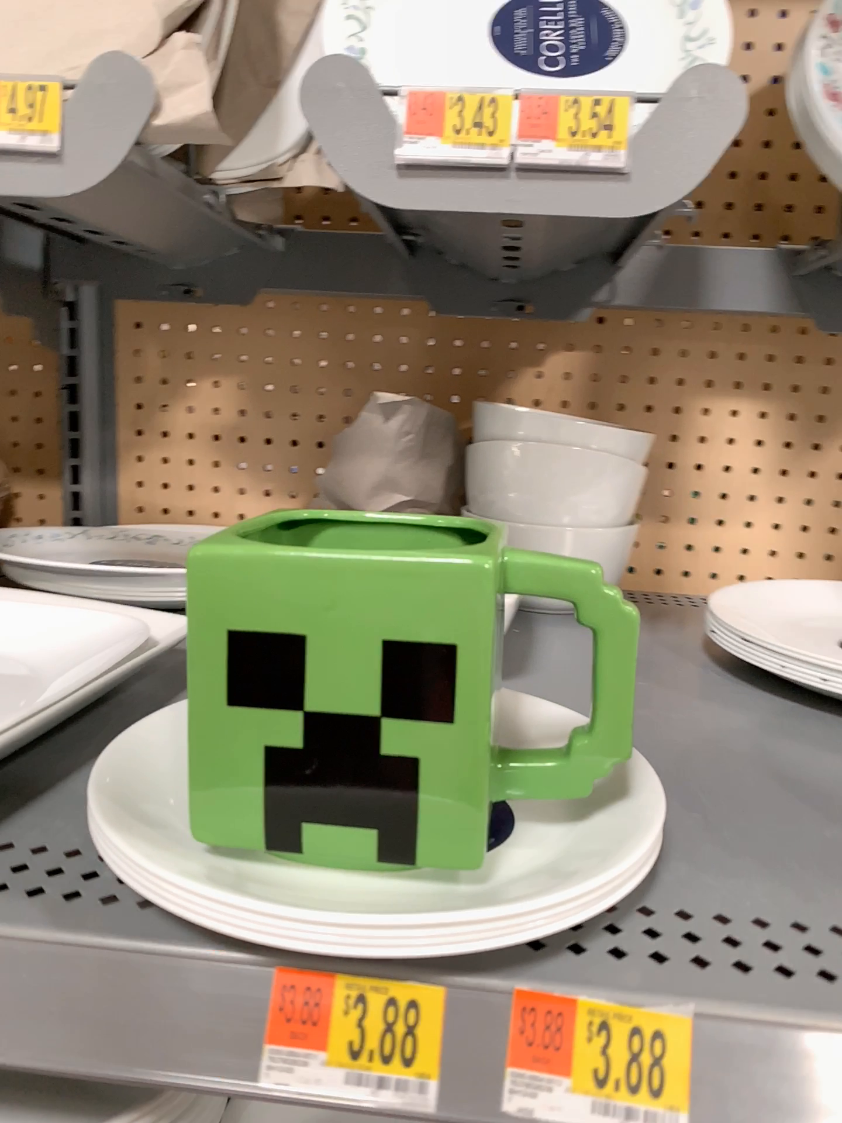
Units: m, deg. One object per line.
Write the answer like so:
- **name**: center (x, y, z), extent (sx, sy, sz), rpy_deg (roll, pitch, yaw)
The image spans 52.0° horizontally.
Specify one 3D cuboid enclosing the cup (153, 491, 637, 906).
- **cup**: center (-0.006, 0.037, 0.310), extent (0.142, 0.104, 0.106), rpy_deg (4, 11, 7)
